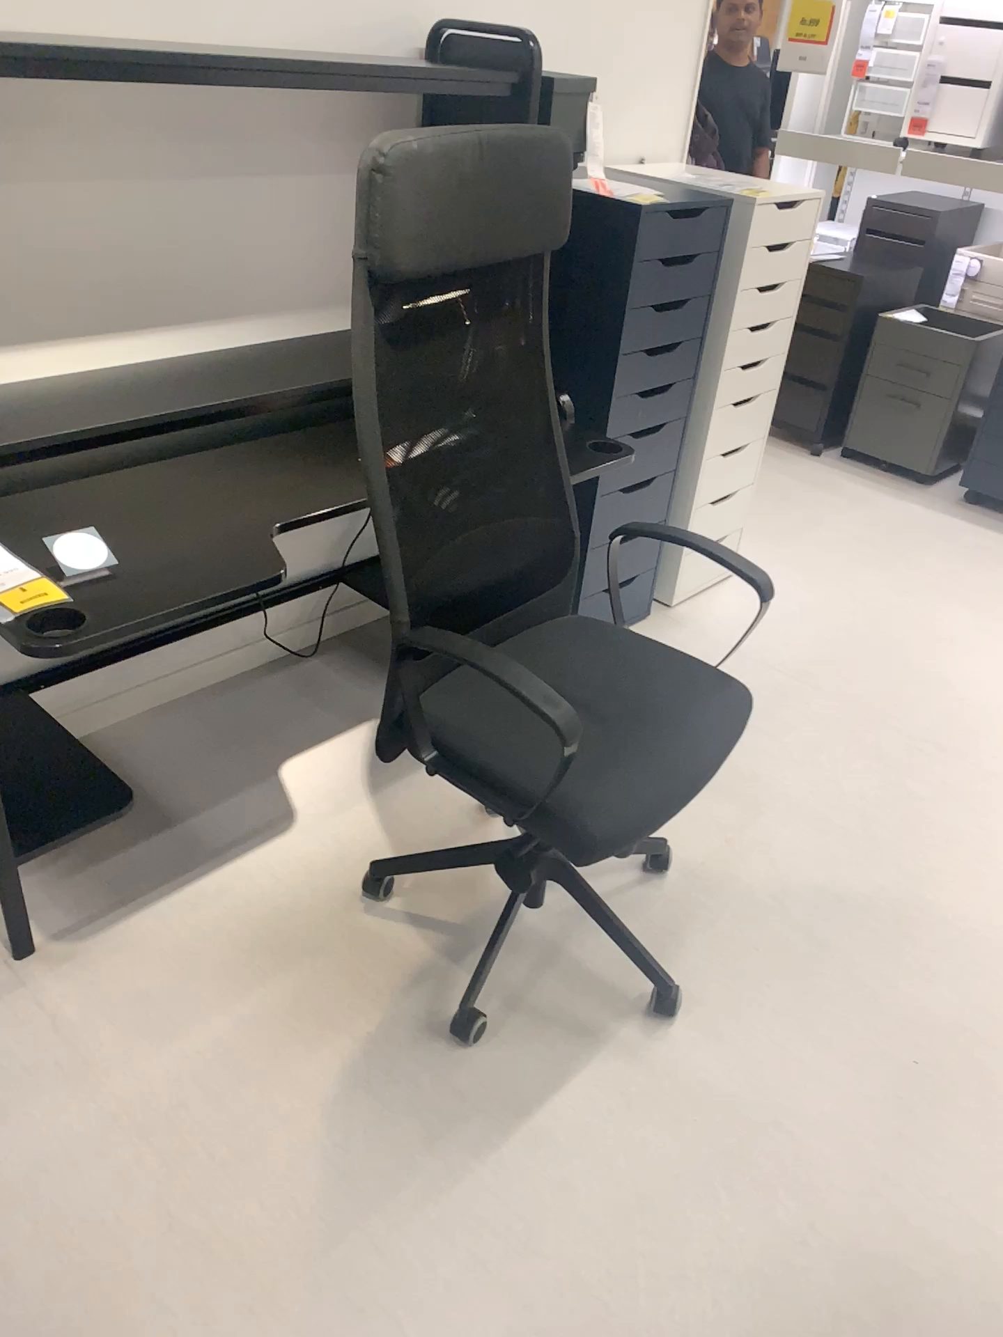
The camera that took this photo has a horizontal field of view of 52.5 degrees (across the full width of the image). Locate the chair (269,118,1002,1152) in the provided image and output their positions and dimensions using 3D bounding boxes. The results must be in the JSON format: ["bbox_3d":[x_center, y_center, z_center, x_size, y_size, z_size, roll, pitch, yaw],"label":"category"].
[{"bbox_3d":[0.138,-0.085,1.556,0.711,1.245,0.642,26,36,30],"label":"chair"}]
